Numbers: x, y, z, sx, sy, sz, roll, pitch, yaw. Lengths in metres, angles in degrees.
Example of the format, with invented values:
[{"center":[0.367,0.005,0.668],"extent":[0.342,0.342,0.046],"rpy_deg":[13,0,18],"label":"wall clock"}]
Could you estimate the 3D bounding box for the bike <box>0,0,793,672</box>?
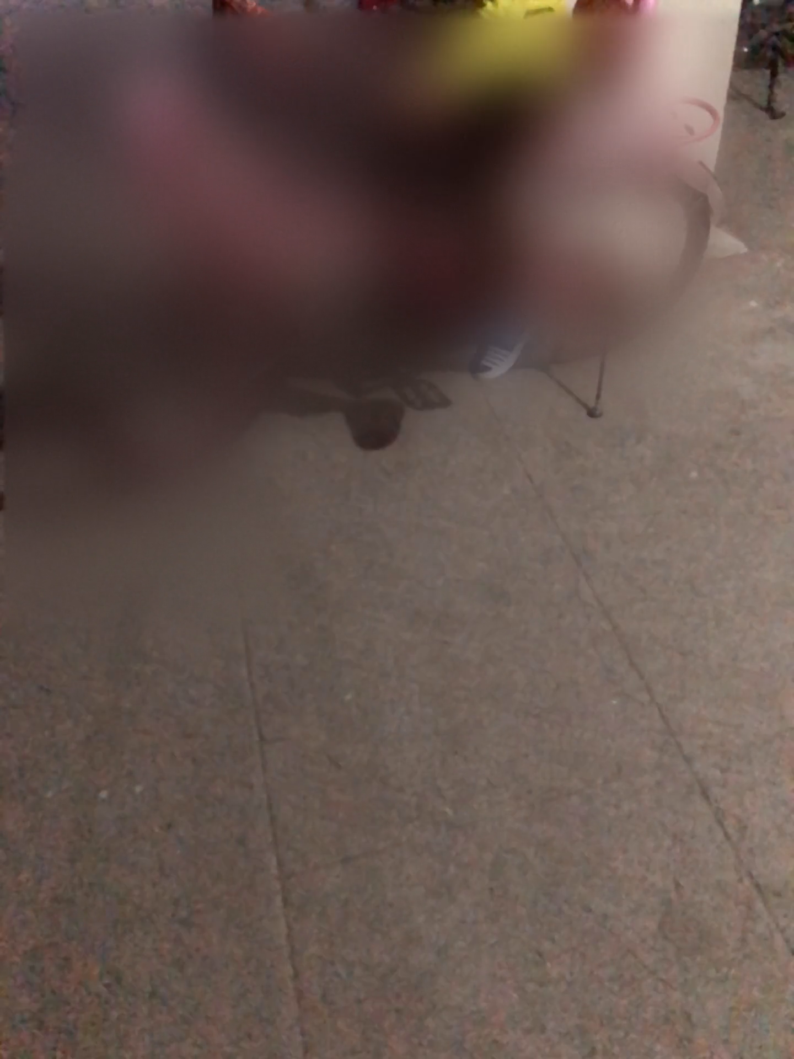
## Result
[{"center":[0.080,-0.453,1.440],"extent":[1.279,0.910,0.496],"rpy_deg":[-19,45,-14],"label":"bike"}]
